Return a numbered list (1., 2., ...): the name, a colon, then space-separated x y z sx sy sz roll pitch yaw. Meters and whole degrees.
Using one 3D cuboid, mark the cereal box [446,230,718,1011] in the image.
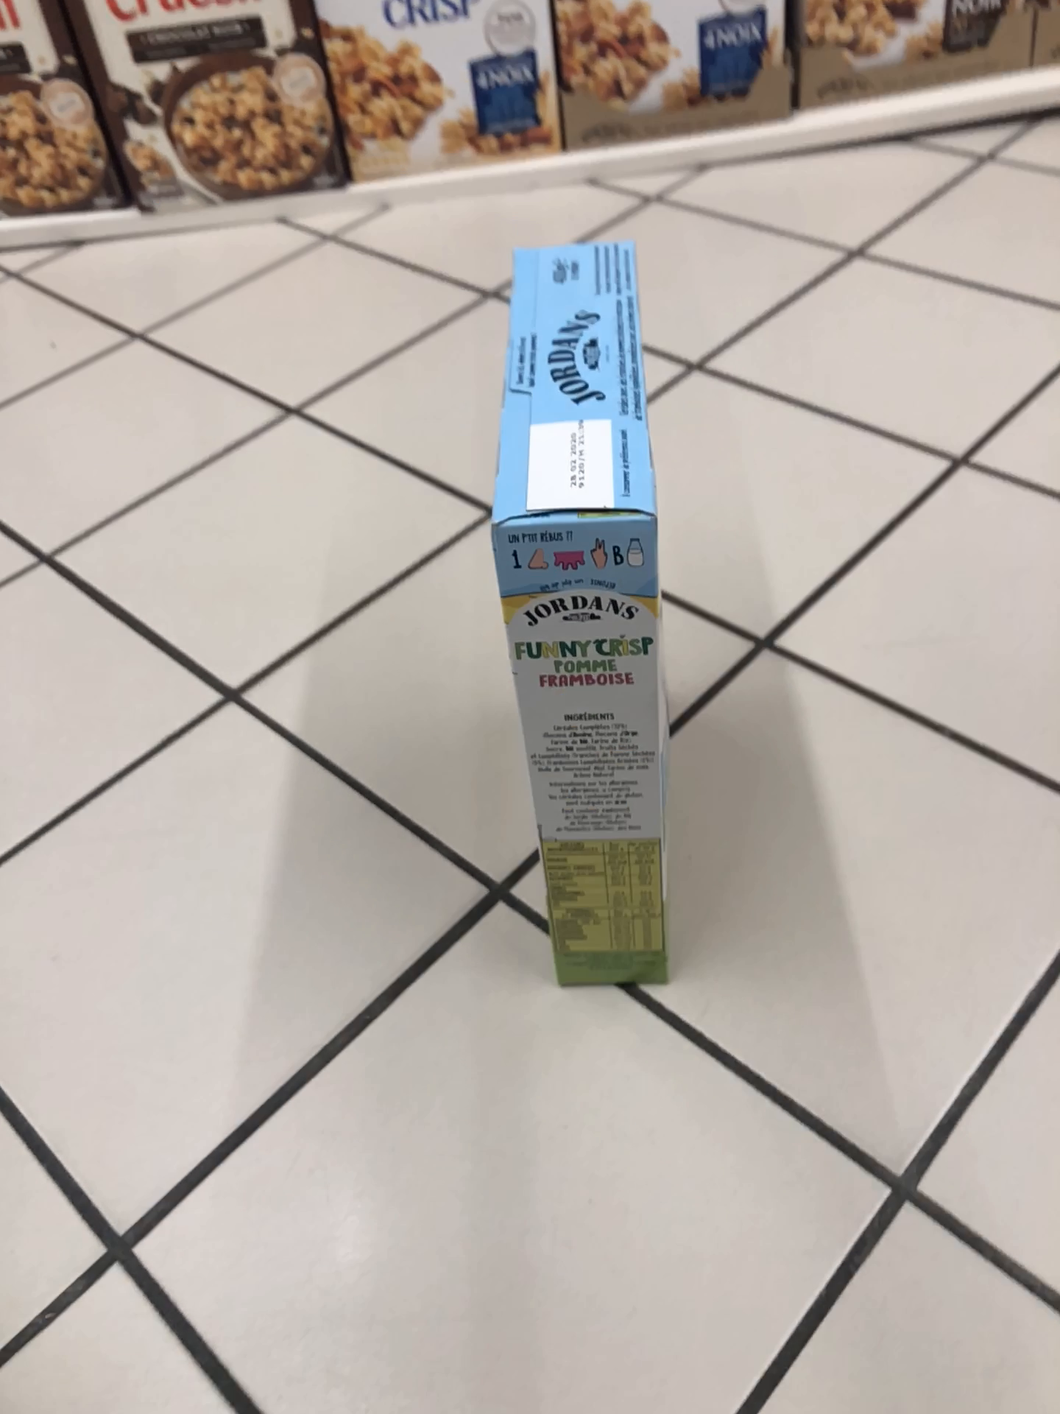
1. cereal box: 0.026 -0.027 0.446 0.070 0.229 0.181 -4 45 5
